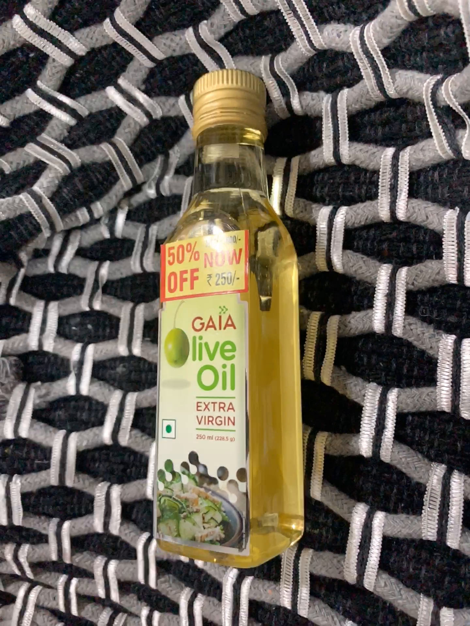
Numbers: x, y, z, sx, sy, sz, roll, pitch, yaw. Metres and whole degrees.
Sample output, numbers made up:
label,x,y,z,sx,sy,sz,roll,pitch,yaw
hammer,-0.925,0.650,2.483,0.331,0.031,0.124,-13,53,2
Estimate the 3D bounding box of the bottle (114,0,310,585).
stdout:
label,x,y,z,sx,sy,sz,roll,pitch,yaw
bottle,-0.006,-0.012,0.187,0.050,0.050,0.190,-4,81,31
